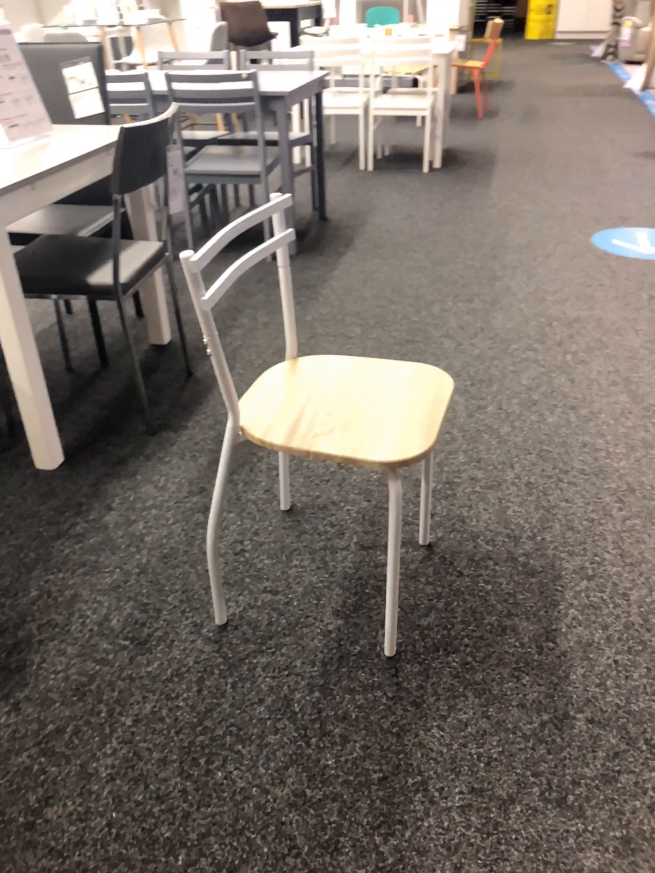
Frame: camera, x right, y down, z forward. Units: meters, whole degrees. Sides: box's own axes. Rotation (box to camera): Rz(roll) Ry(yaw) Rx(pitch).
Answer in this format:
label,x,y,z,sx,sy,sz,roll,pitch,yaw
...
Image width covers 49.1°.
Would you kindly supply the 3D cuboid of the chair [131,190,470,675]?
label,x,y,z,sx,sy,sz,roll,pitch,yaw
chair,0.002,-0.029,1.365,0.440,0.726,0.503,6,32,12
